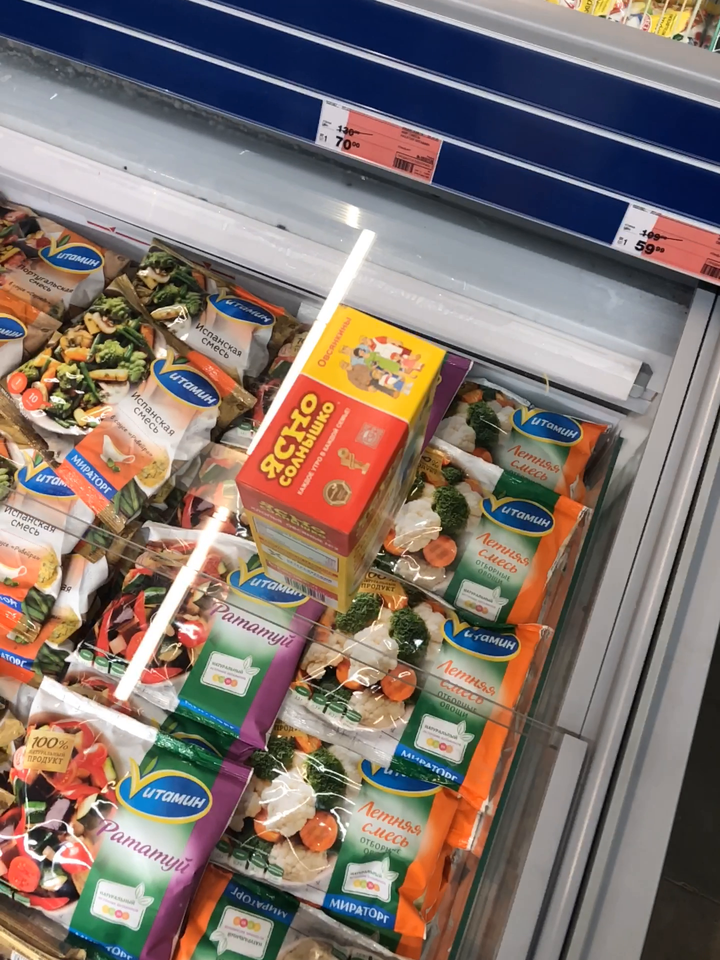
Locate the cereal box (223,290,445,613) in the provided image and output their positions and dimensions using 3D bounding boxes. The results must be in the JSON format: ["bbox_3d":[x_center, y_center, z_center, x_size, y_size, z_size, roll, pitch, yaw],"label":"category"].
[{"bbox_3d":[-0.016,-0.005,0.505,0.070,0.199,0.120,25,69,7],"label":"cereal box"}]
